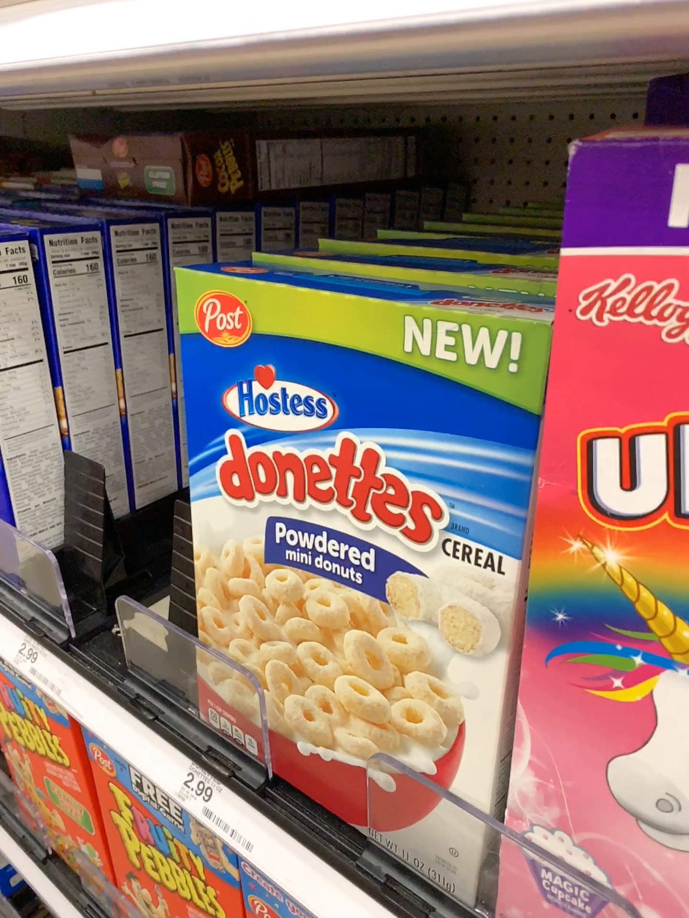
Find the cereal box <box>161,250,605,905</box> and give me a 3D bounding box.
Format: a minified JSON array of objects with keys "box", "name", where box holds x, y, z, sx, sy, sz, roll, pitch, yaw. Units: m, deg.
[{"box":[0.002,0.046,0.352,0.190,0.269,0.060,18,27,35],"name":"cereal box"}]
